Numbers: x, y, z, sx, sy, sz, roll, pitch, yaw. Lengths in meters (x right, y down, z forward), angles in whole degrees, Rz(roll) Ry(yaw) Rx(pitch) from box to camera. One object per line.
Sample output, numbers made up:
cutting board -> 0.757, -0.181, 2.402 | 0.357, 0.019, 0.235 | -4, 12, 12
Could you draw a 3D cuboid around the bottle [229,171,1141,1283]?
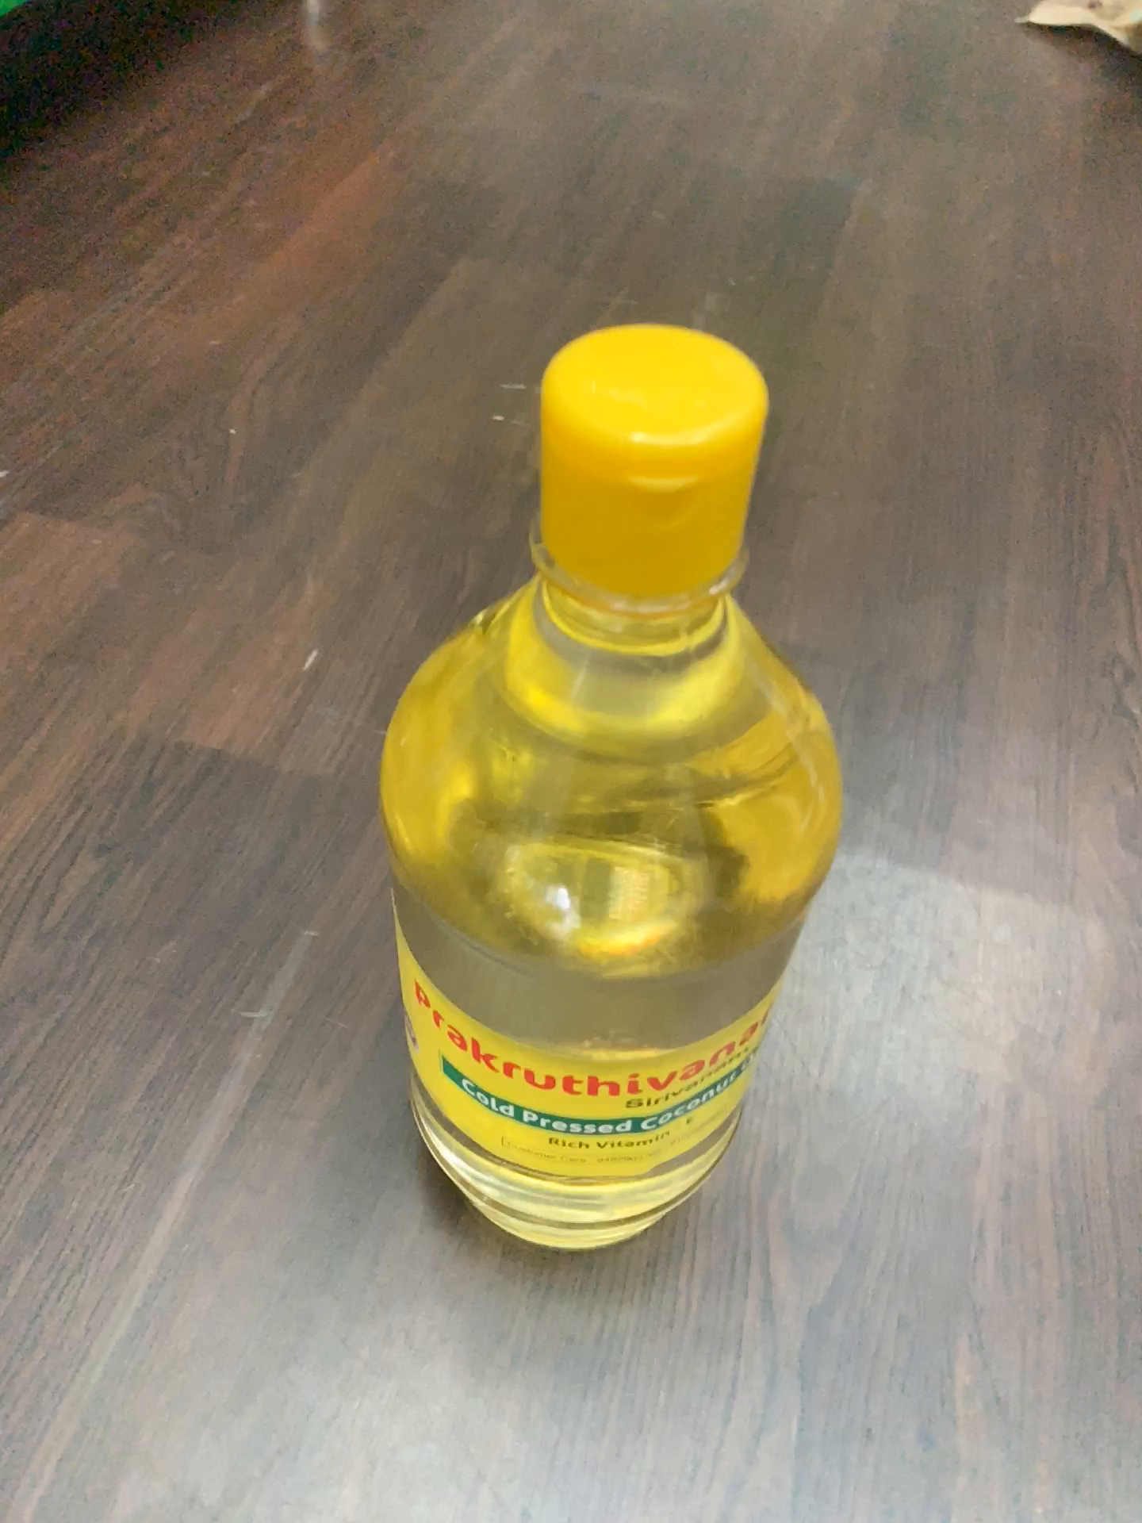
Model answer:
bottle -> 0.007, 0.017, 0.223 | 0.090, 0.209, 0.090 | 1, 49, -2
